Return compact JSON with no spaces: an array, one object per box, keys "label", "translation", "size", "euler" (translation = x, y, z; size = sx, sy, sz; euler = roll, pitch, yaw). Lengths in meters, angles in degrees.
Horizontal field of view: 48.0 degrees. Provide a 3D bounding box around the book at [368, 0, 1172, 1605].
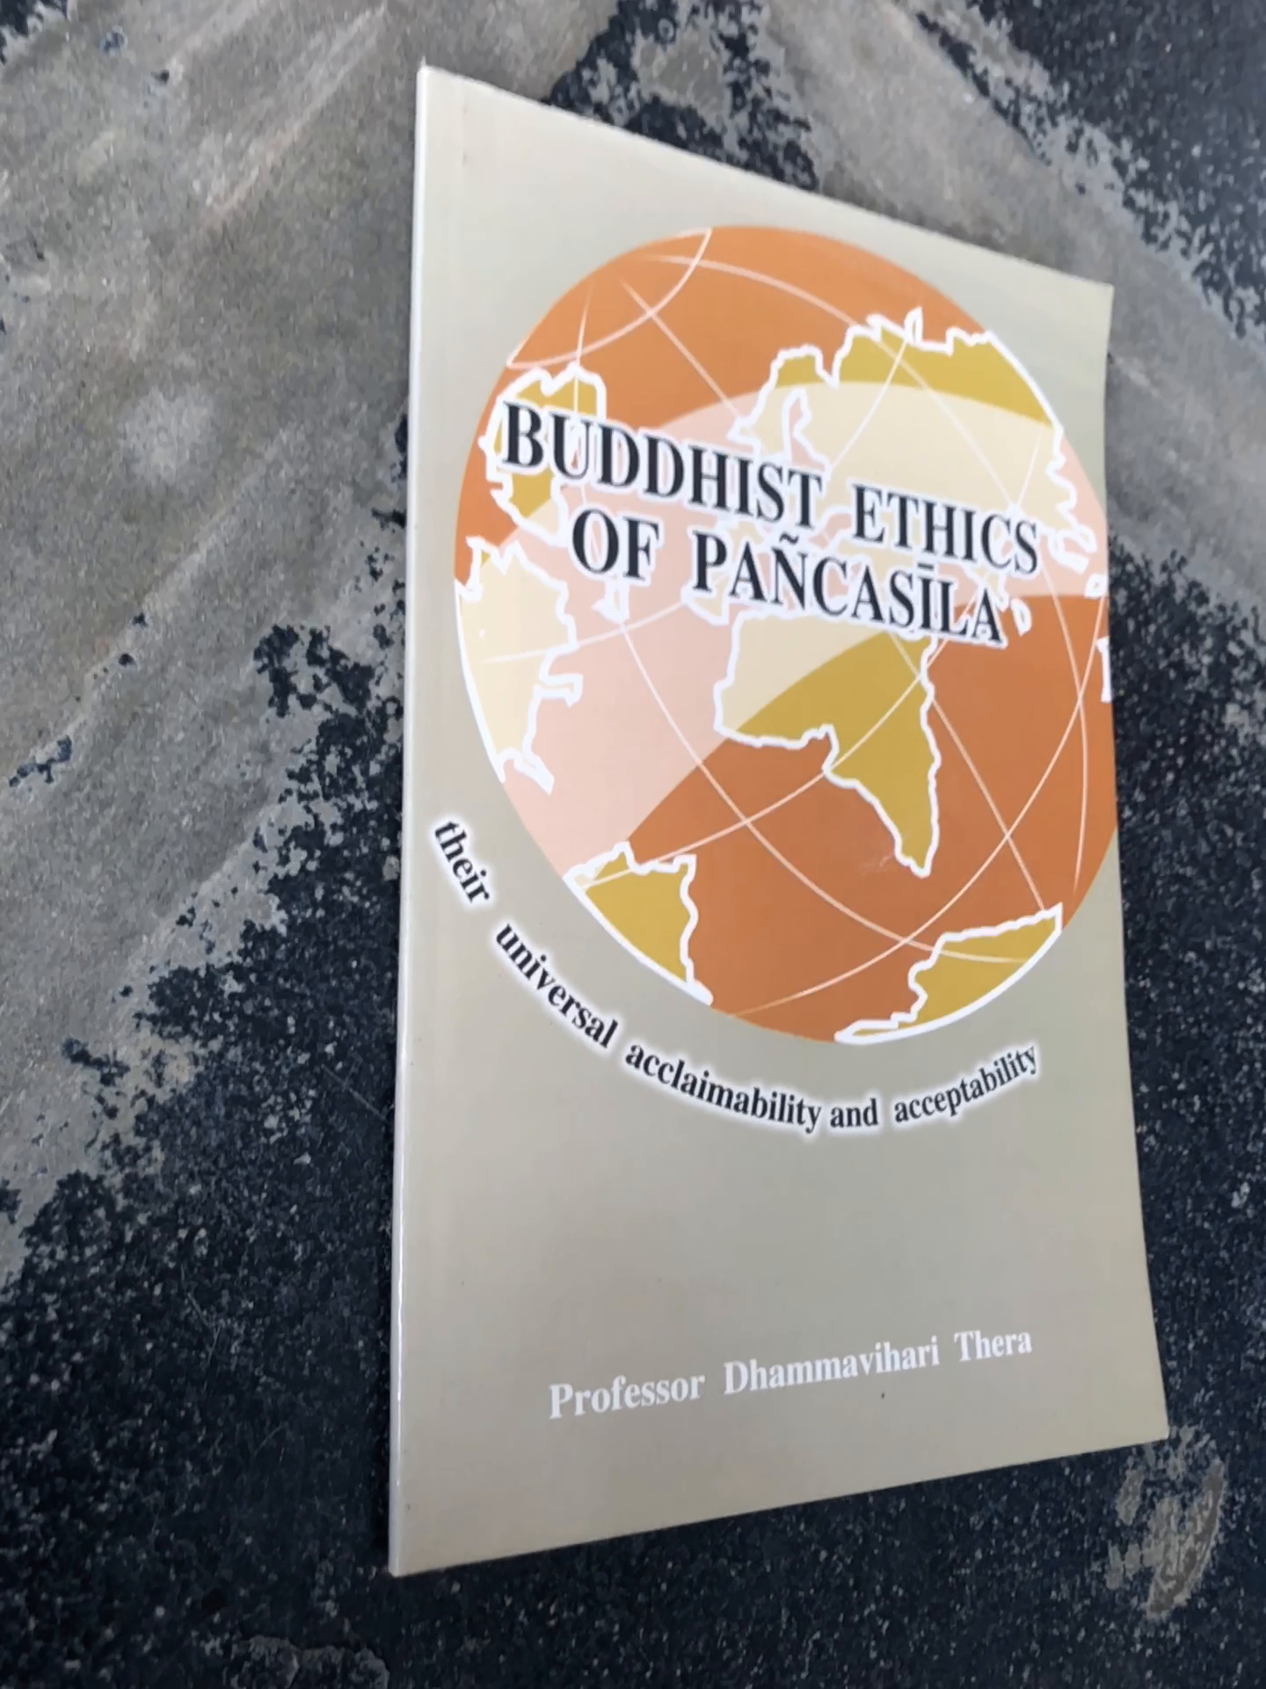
[{"label":"book","translation":[0.026,-0.011,0.230],"size":[0.141,0.010,0.220],"euler":[3,81,-29]}]
